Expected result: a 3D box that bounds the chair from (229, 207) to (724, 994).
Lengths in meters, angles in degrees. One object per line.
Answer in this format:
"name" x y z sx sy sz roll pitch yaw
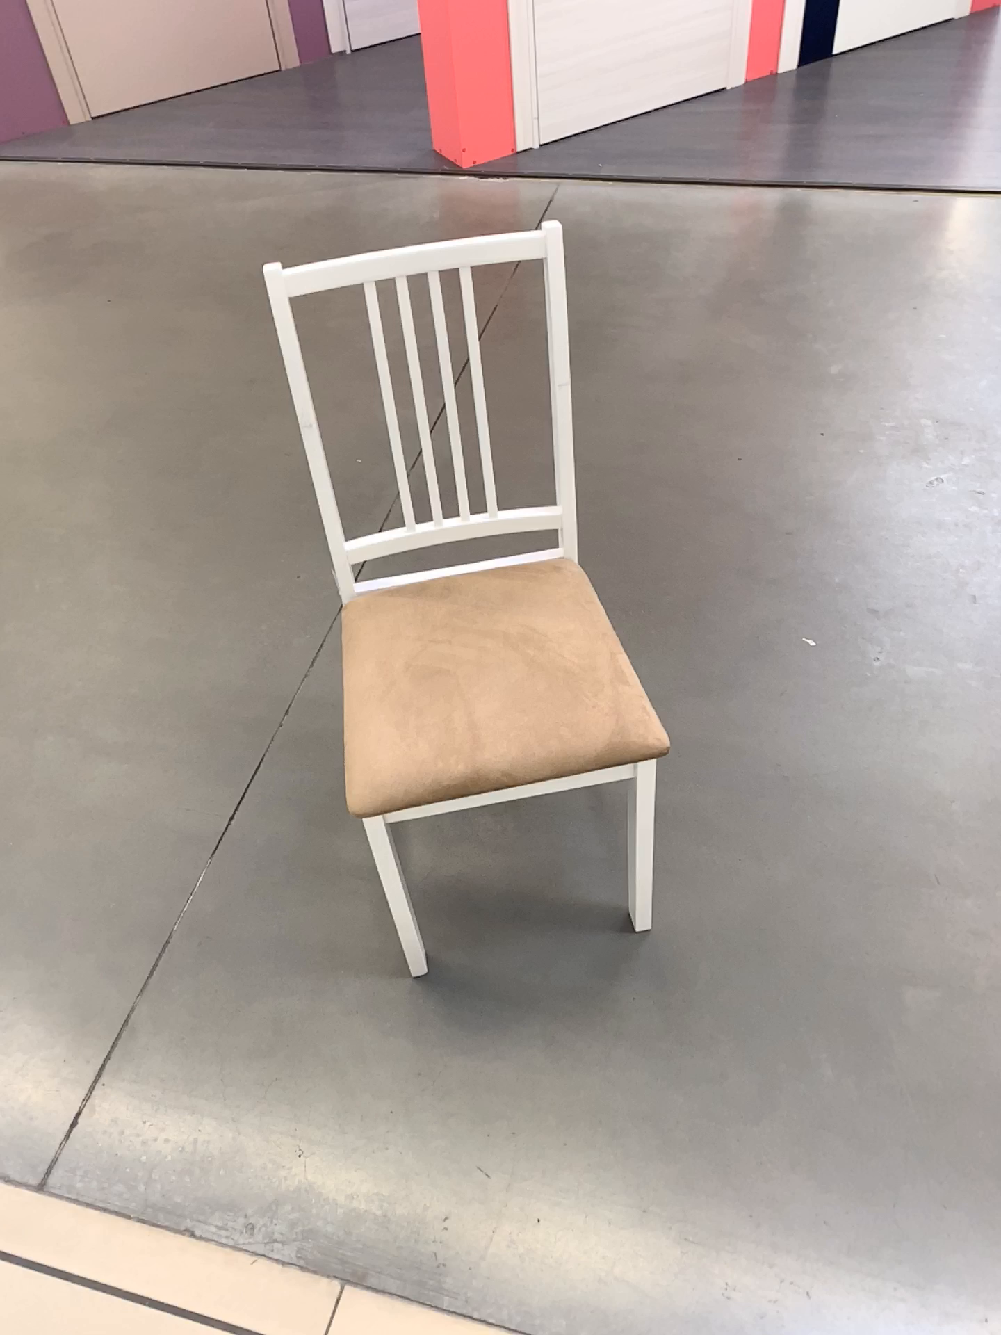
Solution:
"chair" -0.029 -0.044 1.301 0.400 0.817 0.502 -12 47 -5
